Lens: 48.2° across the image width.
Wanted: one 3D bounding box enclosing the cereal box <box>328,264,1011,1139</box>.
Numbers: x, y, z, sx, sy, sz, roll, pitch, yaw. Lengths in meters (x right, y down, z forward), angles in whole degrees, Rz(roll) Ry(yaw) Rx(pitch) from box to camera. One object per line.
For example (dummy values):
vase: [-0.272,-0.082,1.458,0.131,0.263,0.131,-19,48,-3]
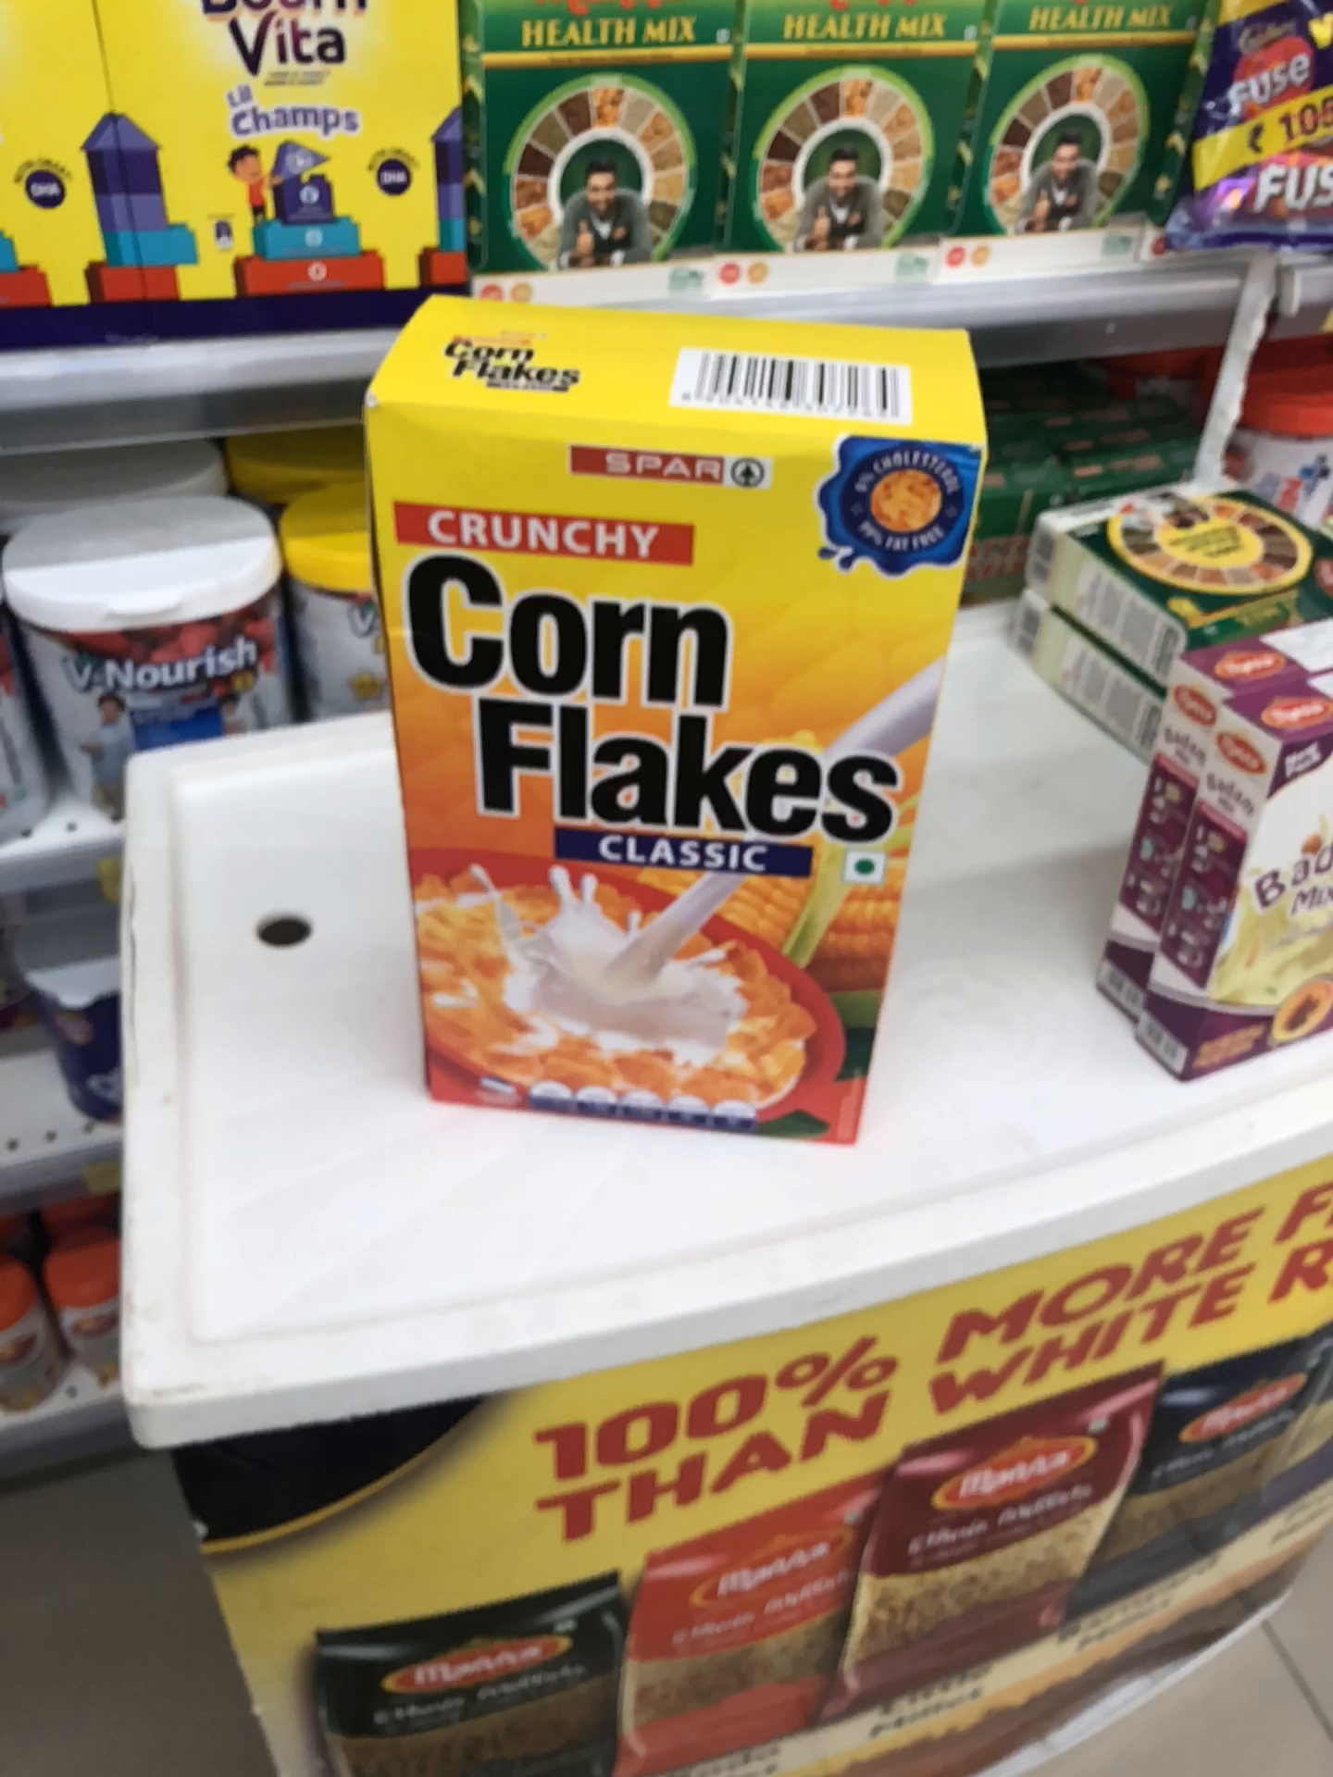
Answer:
cereal box: [-0.002,-0.053,0.572,0.200,0.319,0.090,6,41,3]
